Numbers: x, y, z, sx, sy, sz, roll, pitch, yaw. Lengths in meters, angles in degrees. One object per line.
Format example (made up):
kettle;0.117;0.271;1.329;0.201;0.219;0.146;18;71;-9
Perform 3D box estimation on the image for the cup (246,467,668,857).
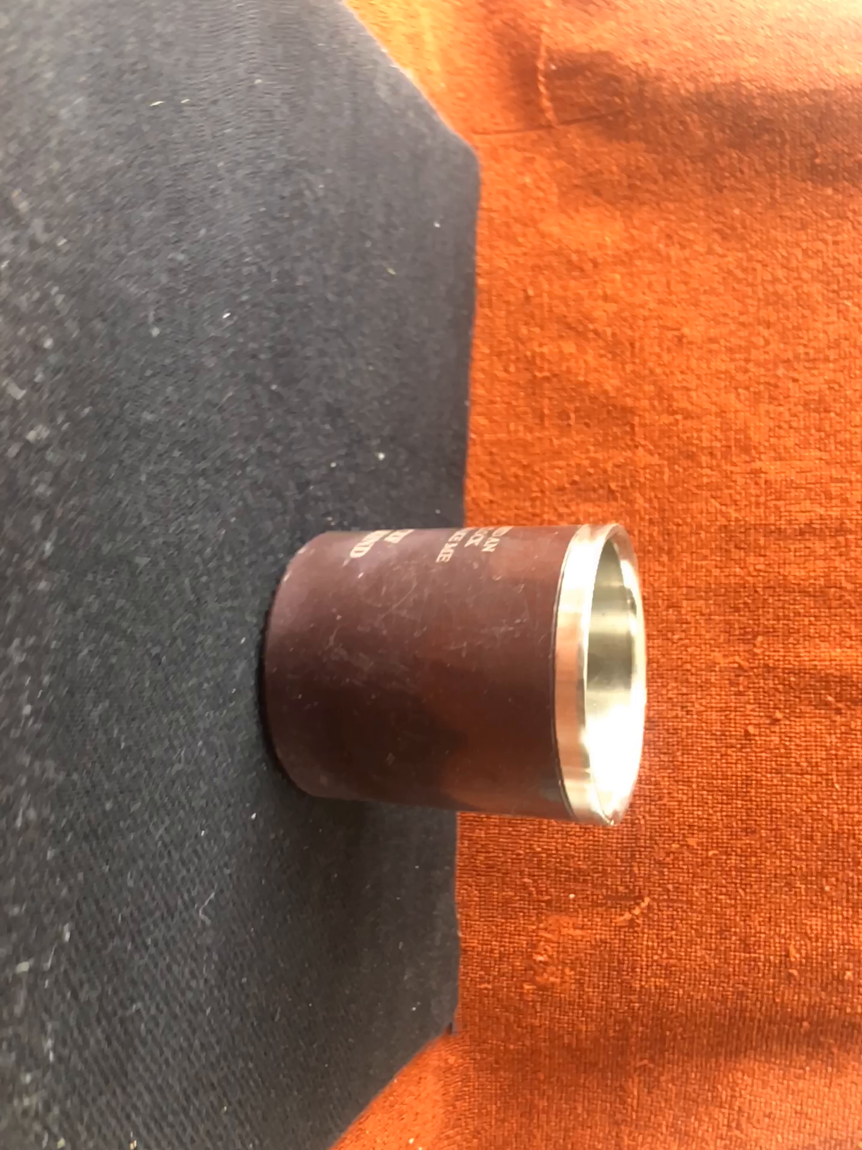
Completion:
cup;0.017;0.026;0.290;0.111;0.089;0.090;20;72;-67
